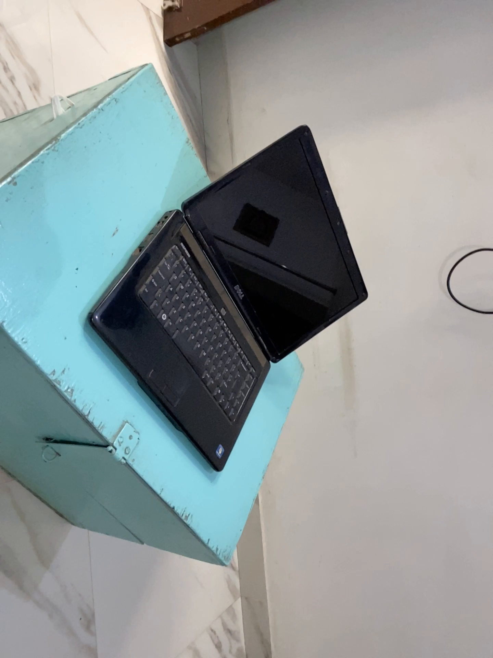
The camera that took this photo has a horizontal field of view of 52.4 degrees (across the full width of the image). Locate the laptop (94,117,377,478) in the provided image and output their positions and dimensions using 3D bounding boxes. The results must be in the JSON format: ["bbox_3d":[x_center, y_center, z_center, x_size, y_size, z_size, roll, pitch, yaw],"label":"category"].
[{"bbox_3d":[0.035,-0.045,0.803,0.364,0.162,0.413,59,44,-37],"label":"laptop"}]
